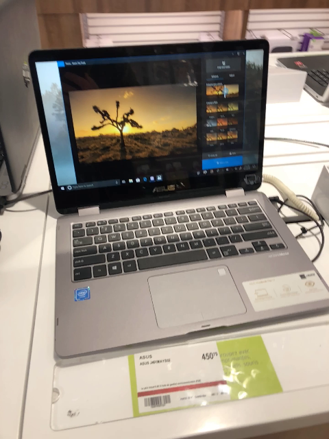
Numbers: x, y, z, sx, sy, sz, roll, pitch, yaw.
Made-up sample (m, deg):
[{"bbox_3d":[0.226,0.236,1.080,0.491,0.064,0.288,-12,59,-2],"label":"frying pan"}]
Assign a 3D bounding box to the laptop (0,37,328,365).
[{"bbox_3d":[0.020,-0.052,0.431,0.319,0.211,0.291,-9,42,-10],"label":"laptop"}]
